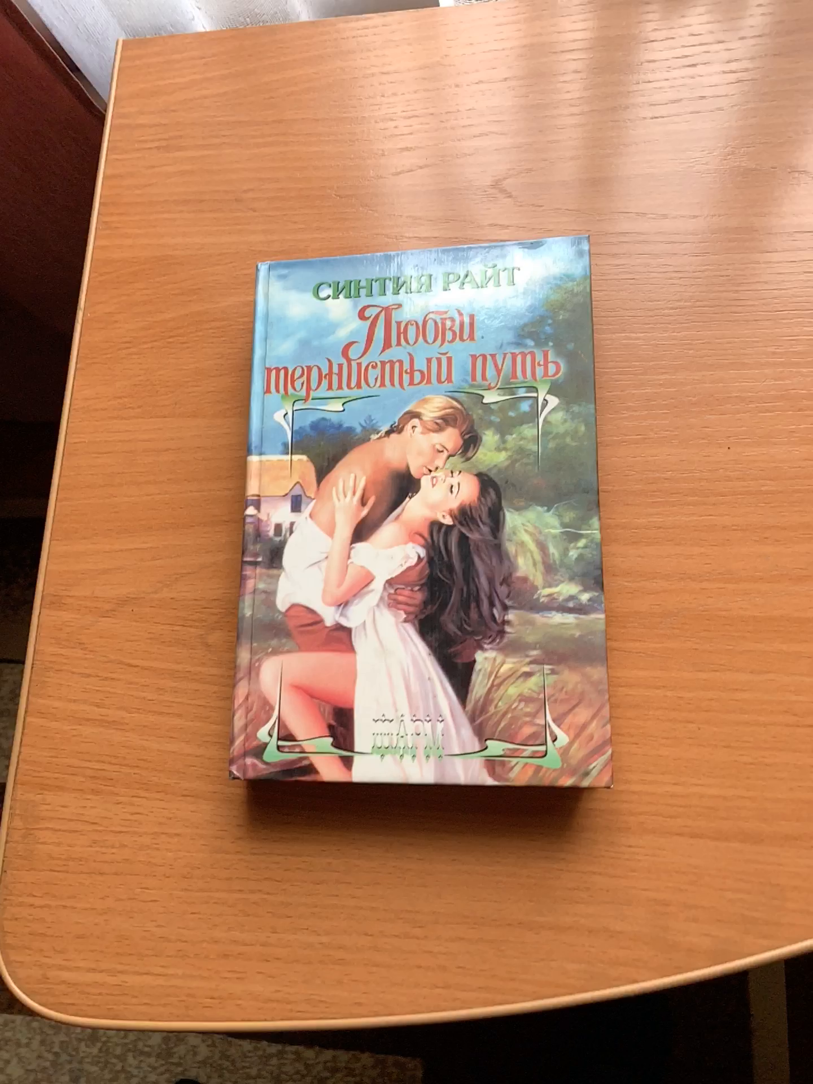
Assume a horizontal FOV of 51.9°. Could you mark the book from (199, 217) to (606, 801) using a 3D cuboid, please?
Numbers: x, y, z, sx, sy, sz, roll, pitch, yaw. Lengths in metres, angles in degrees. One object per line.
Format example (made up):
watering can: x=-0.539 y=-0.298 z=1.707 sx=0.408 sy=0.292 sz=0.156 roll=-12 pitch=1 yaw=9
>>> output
book: x=0.001 y=-0.015 z=0.318 sx=0.140 sy=0.030 sz=0.210 roll=-1 pitch=78 yaw=9
